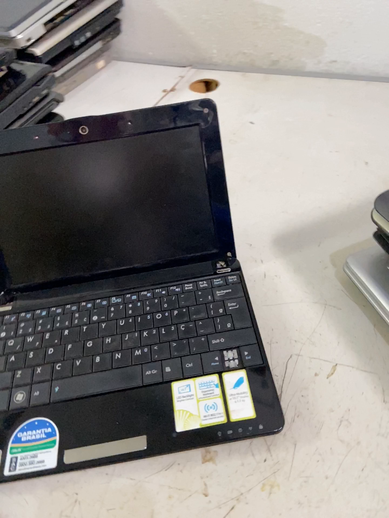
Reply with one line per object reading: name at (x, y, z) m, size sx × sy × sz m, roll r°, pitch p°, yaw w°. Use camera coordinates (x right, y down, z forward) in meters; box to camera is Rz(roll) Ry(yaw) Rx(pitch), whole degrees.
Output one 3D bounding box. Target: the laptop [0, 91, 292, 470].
laptop at (-0.087, 0.002, 0.349) m, size 0.258 × 0.131 × 0.266 m, roll -9°, pitch 50°, yaw 0°
